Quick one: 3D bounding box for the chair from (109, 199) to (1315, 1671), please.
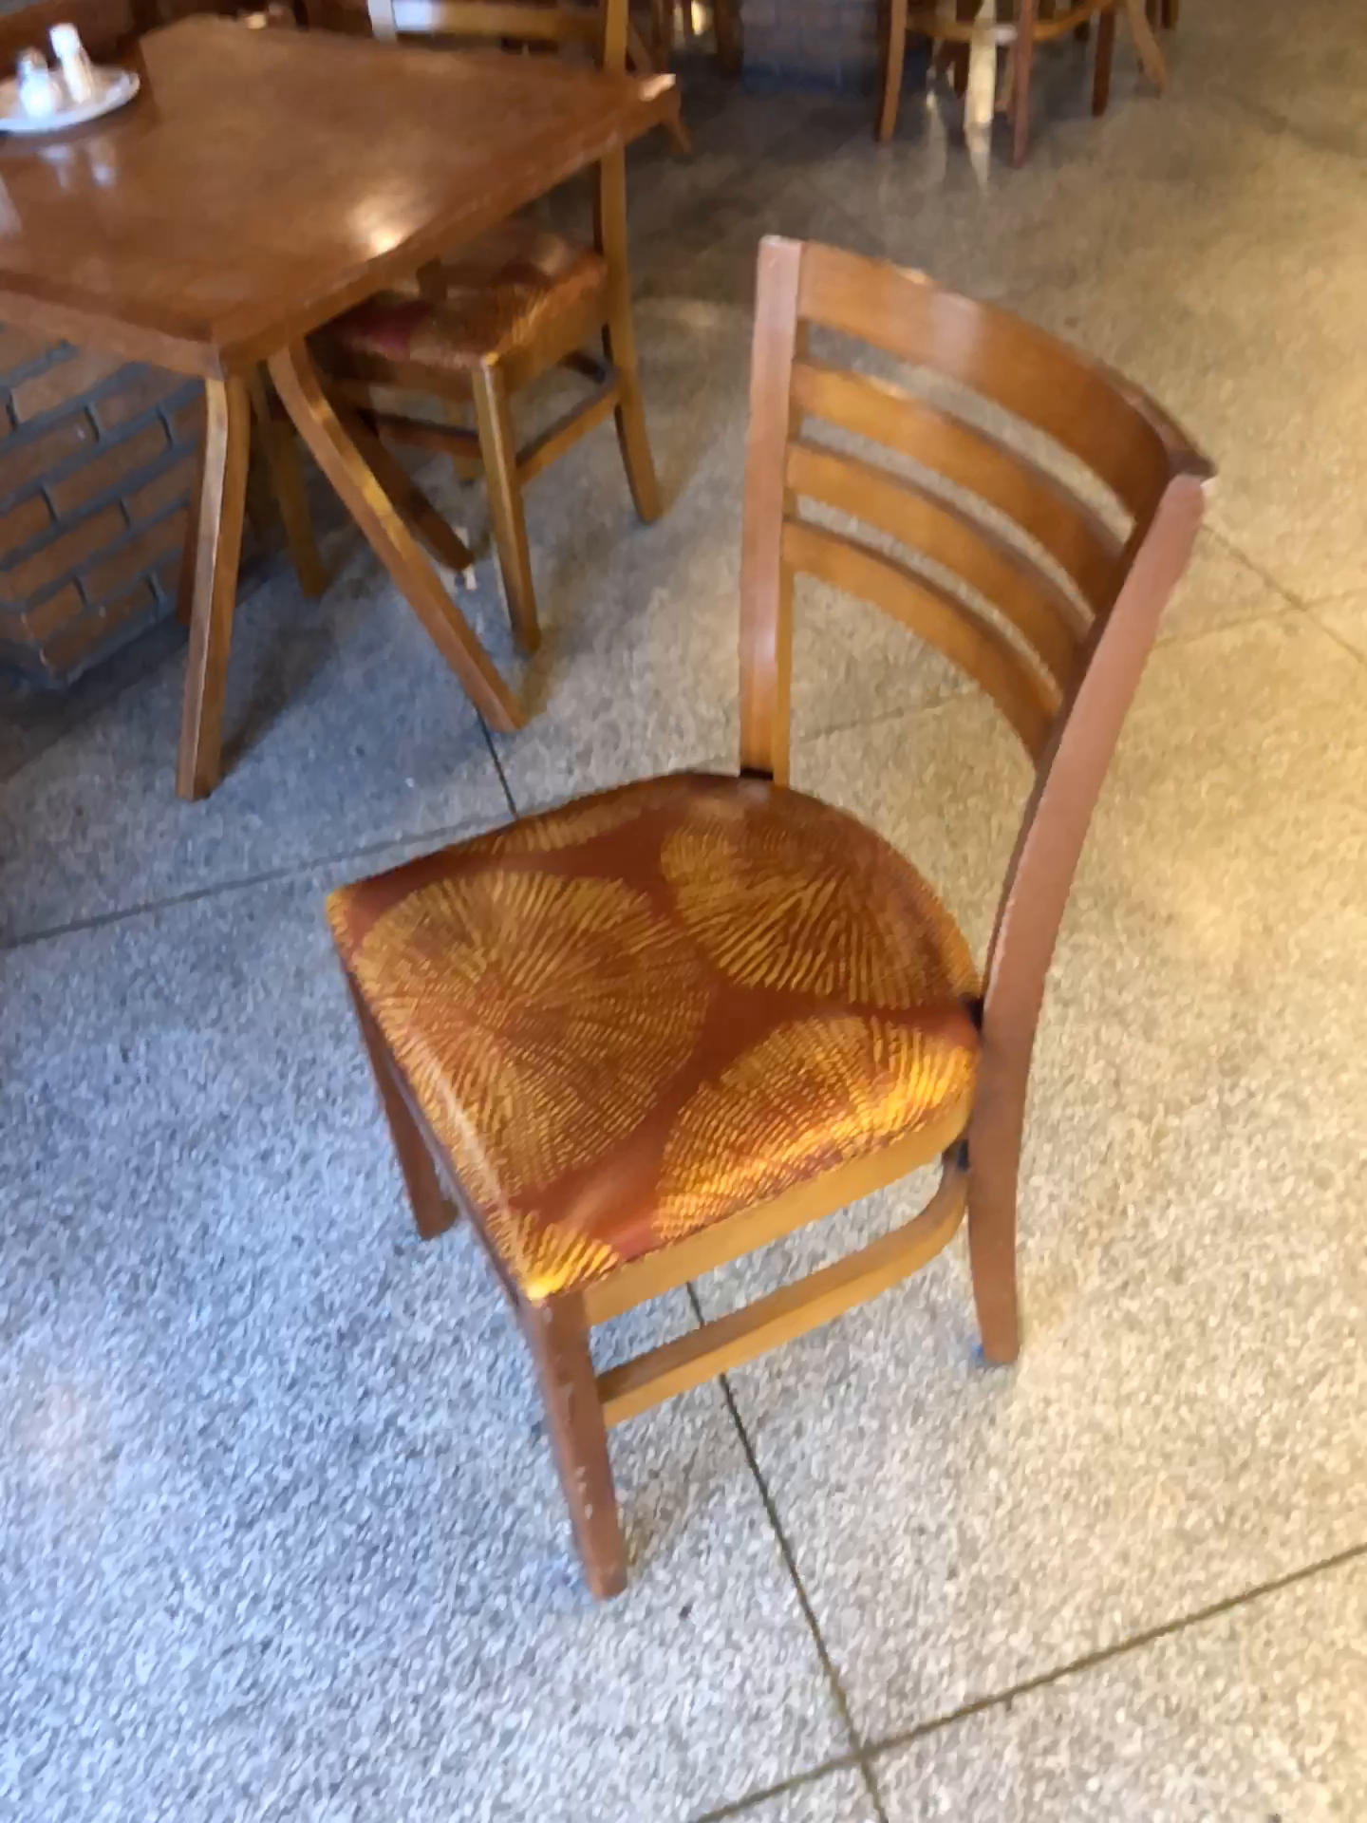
[{"bbox_3d":[0.011,0.047,1.073,0.471,0.844,0.452,-23,46,-18],"label":"chair"}]
